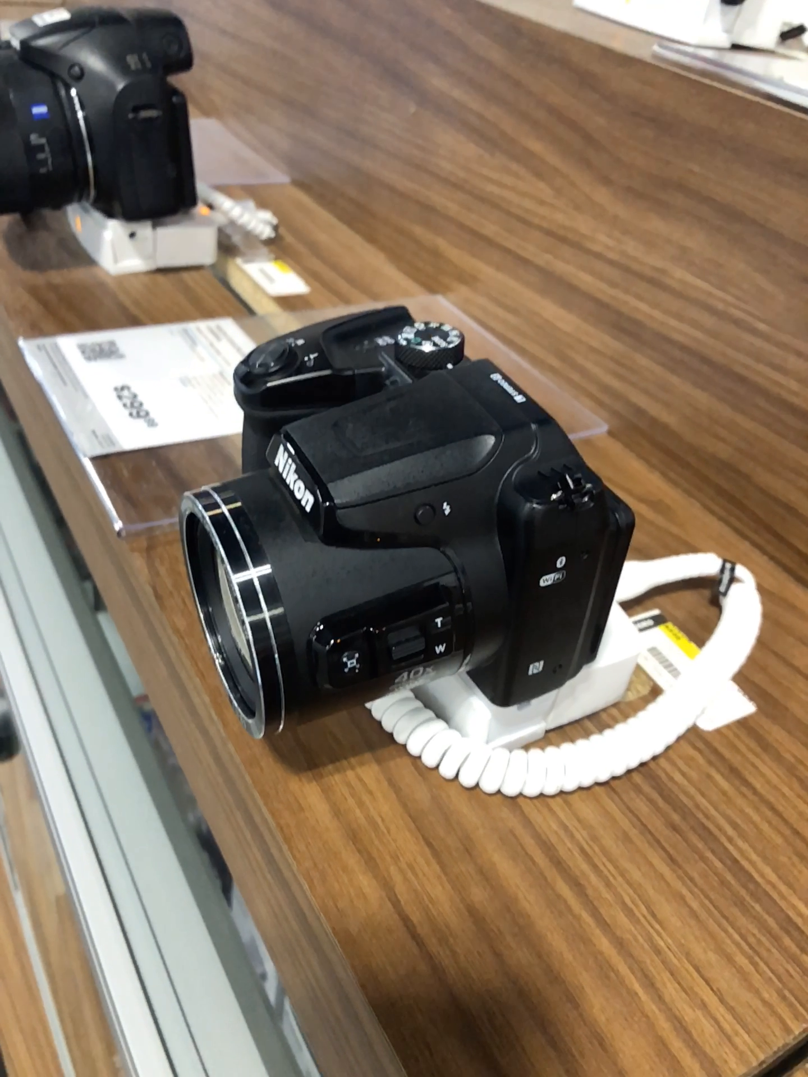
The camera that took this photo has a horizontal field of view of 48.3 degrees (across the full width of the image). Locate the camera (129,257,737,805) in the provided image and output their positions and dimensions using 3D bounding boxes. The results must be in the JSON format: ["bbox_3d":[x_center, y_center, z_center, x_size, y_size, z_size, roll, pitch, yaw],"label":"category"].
[{"bbox_3d":[-0.002,-0.014,0.244,0.110,0.079,0.111,-13,43,-28],"label":"camera"}]
